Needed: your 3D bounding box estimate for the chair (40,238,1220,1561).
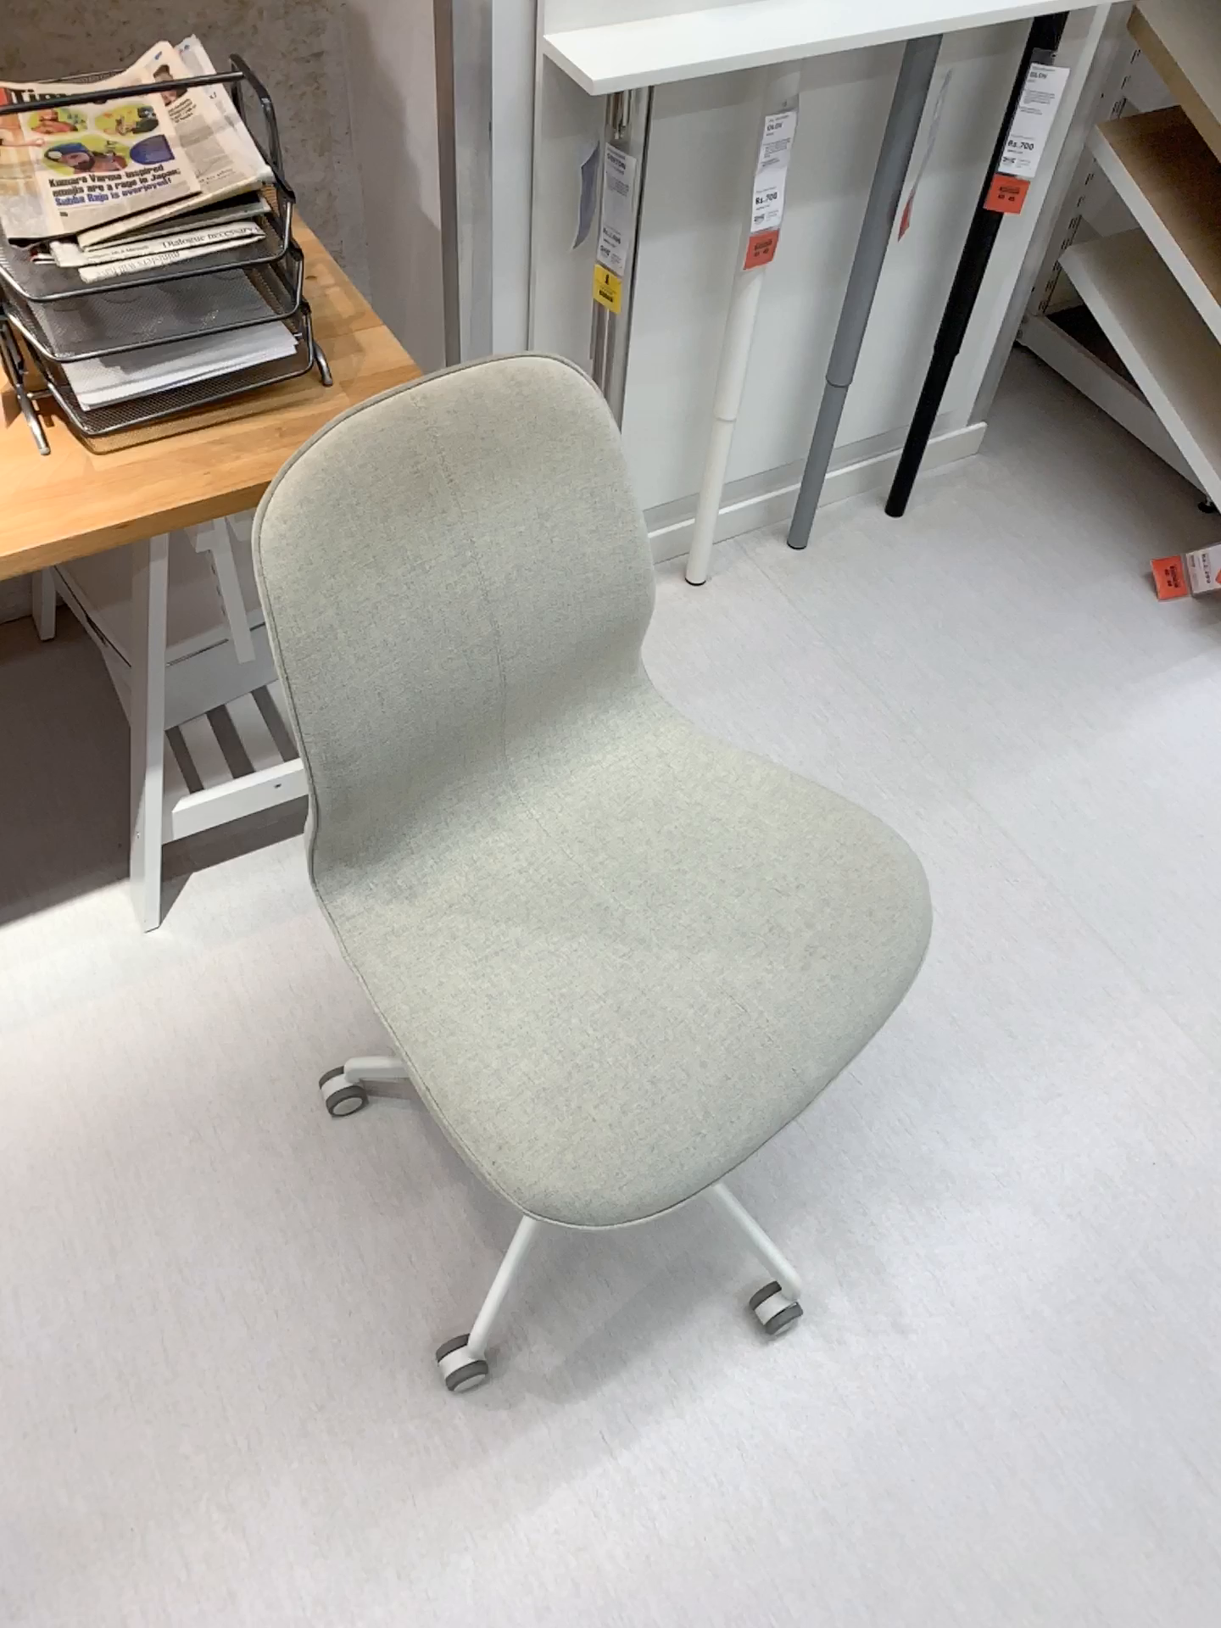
[{"bbox_3d":[0.042,0.110,1.163,0.661,0.868,0.661,-28,60,-24],"label":"chair"}]
